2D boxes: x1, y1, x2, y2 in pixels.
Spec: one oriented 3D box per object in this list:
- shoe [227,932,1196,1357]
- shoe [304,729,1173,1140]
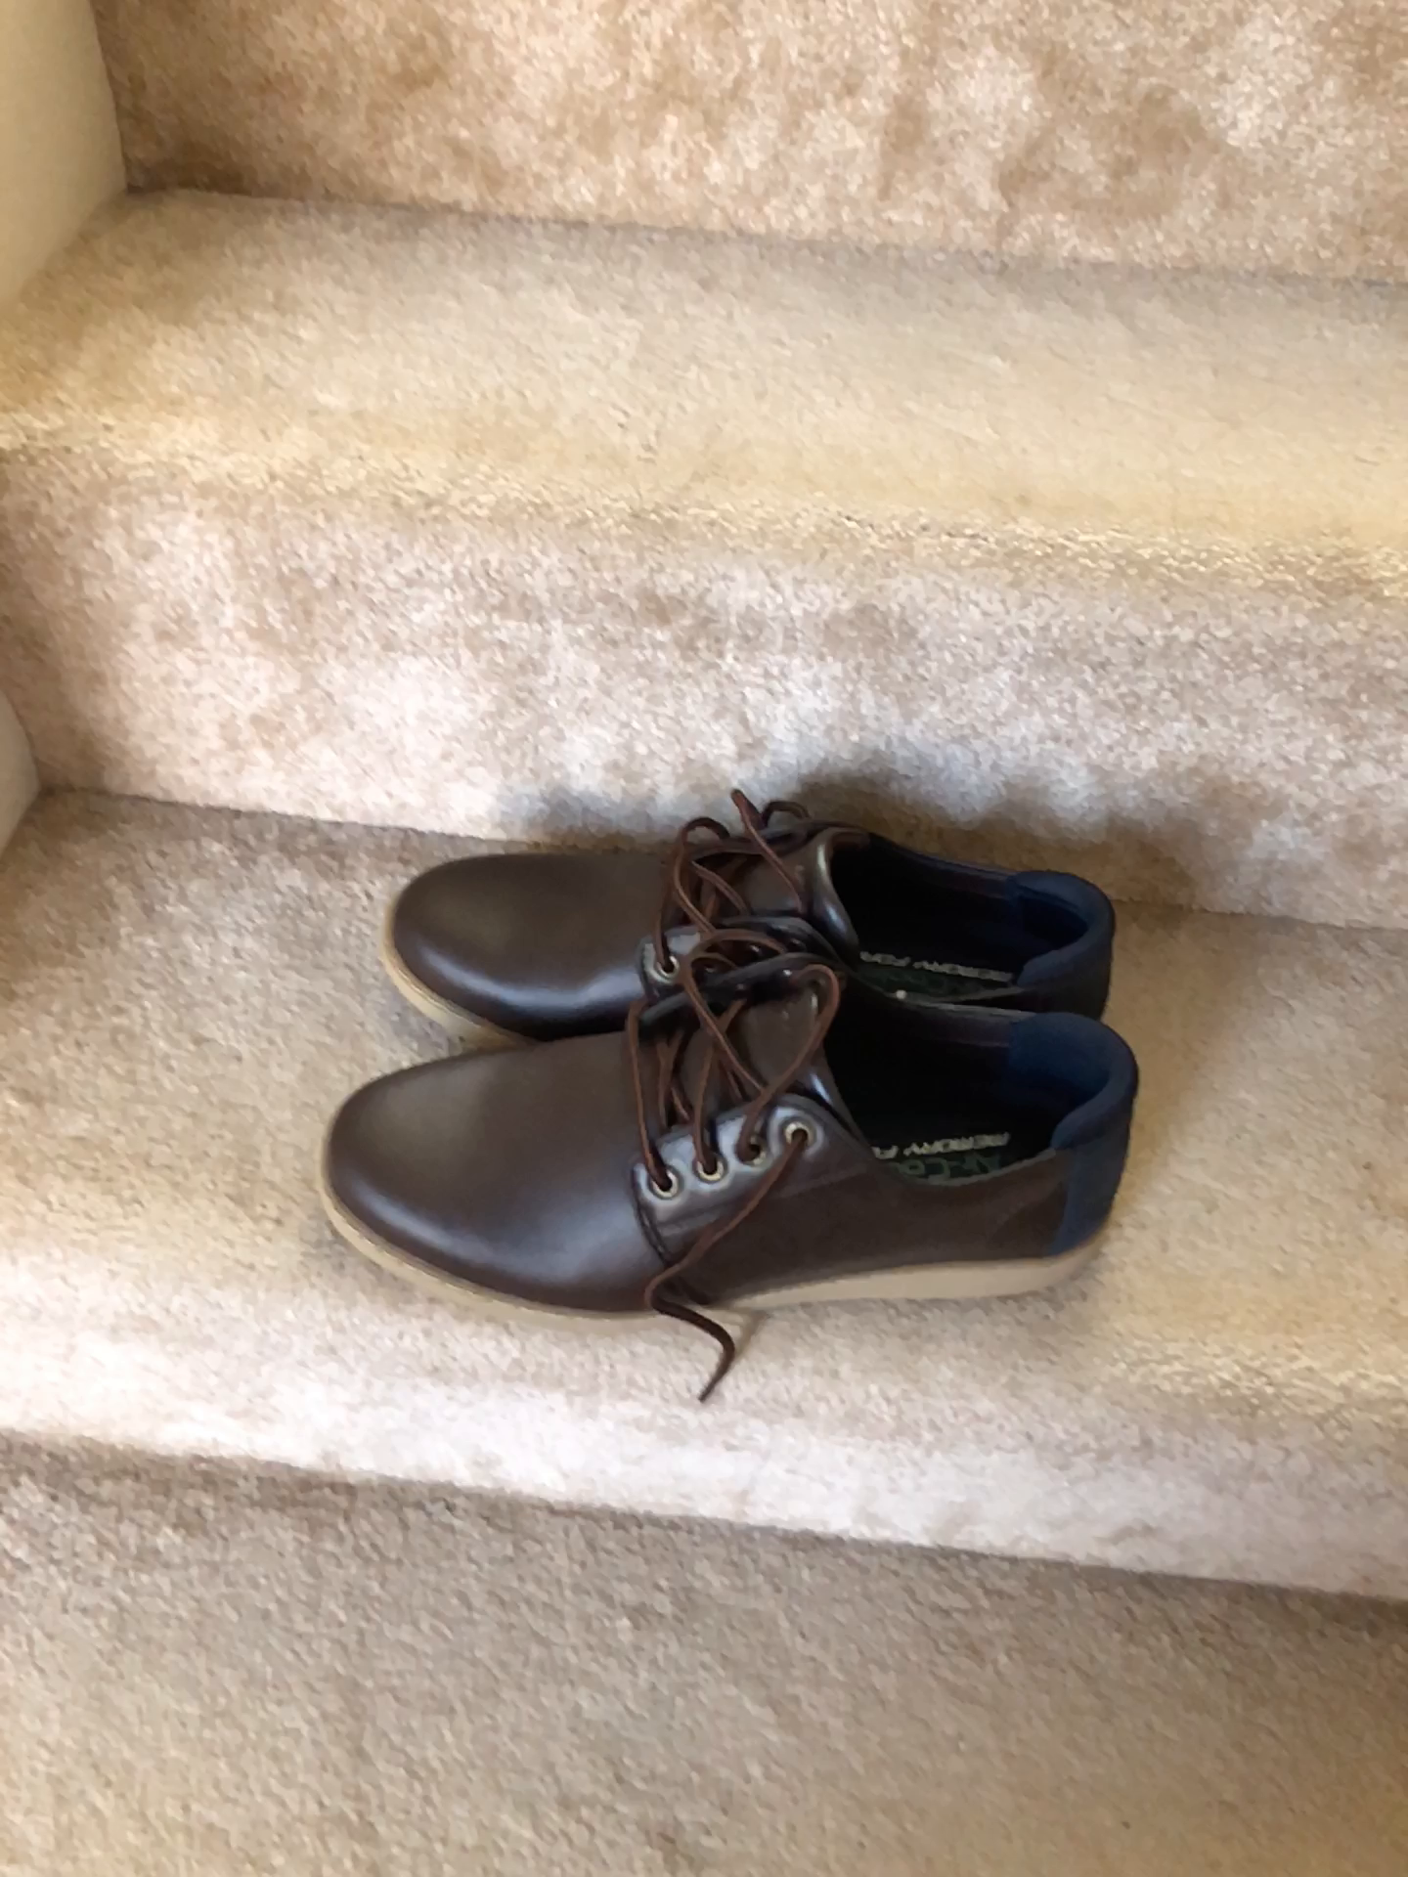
[{"bbox_3d":[0.003,0.073,0.549,0.300,0.089,0.111,1,47,0],"label":"shoe"},{"bbox_3d":[0.013,-0.003,0.603,0.300,0.089,0.111,4,47,2],"label":"shoe"}]
